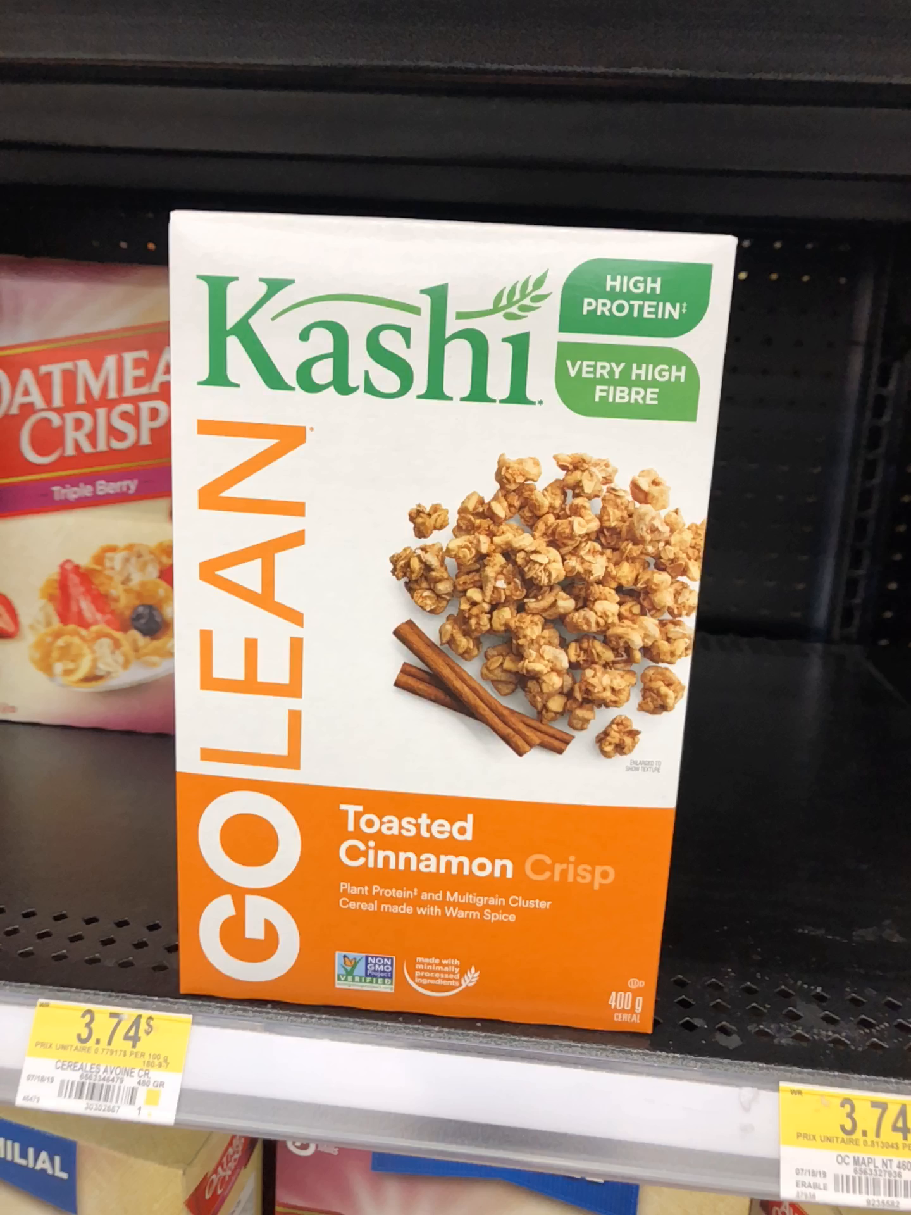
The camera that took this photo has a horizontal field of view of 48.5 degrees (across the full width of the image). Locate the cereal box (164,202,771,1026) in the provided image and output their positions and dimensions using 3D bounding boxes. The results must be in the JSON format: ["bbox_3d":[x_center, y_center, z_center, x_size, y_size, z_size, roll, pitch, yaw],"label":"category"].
[{"bbox_3d":[-0.003,0.005,0.335,0.170,0.249,0.050,4,14,4],"label":"cereal box"}]
